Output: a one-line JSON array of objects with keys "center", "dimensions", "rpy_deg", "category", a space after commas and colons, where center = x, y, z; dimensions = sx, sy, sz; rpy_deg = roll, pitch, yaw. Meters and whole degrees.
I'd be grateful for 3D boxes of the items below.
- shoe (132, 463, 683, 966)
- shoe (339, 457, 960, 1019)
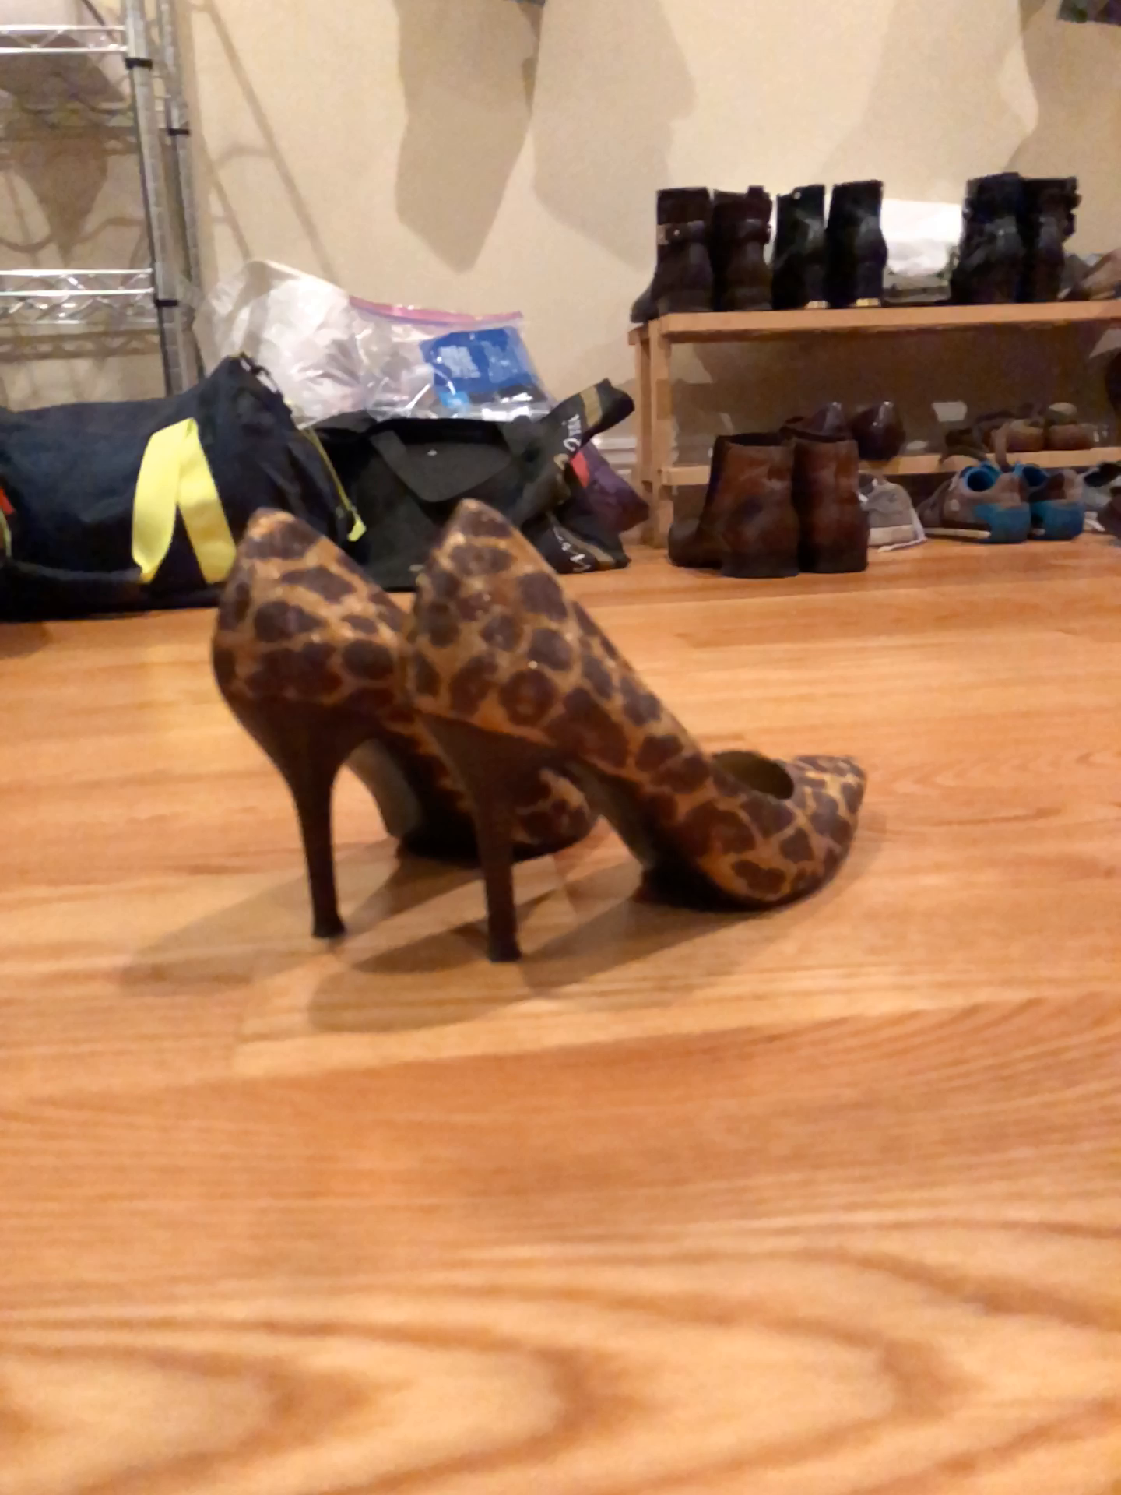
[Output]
[{"center": [-0.040, -0.031, 0.472], "dimensions": [0.084, 0.144, 0.219], "rpy_deg": [6, 16, 32], "category": "shoe"}, {"center": [0.044, -0.023, 0.425], "dimensions": [0.219, 0.144, 0.084], "rpy_deg": [-15, 19, -42], "category": "shoe"}]
